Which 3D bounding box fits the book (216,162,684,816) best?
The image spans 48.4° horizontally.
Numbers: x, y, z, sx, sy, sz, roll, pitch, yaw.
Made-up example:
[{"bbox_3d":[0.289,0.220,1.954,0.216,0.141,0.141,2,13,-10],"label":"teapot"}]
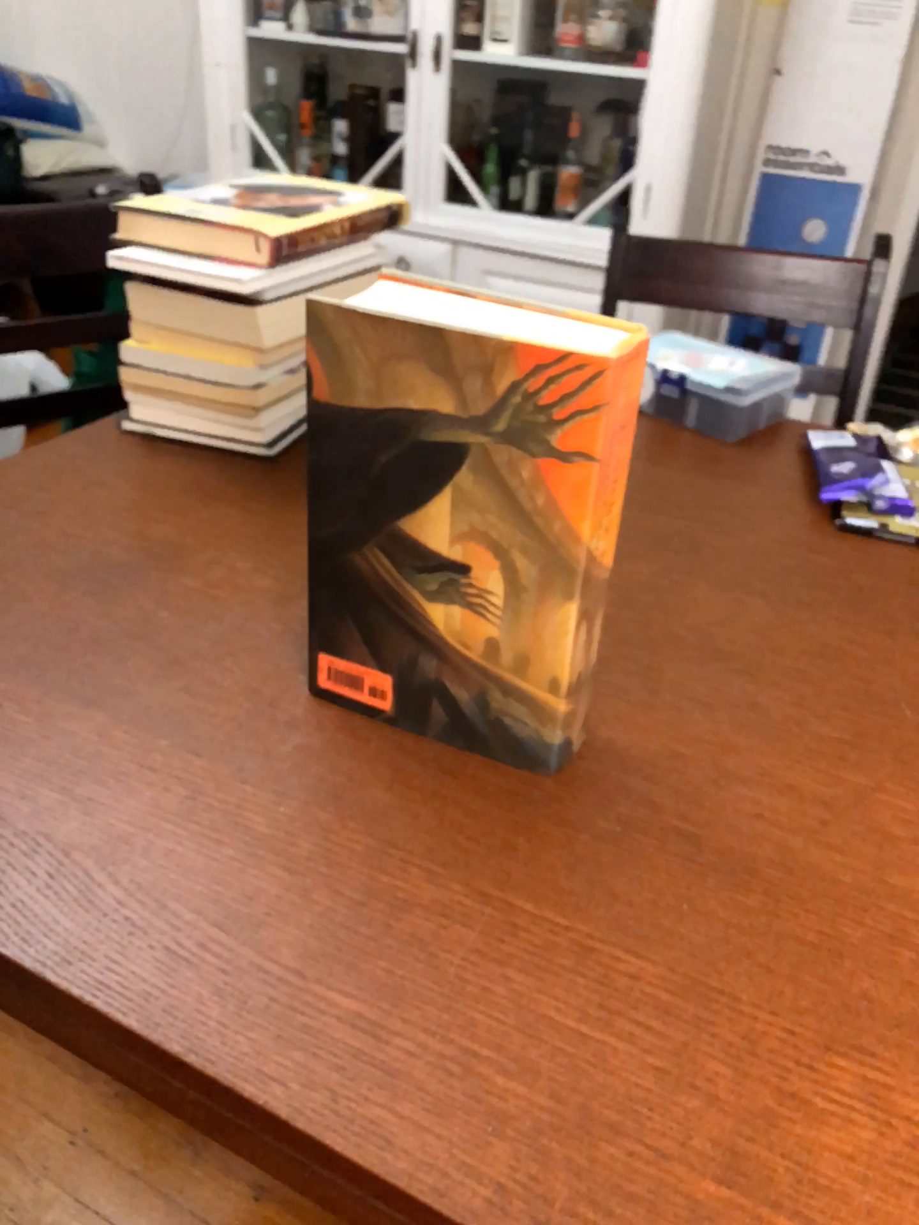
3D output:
[{"bbox_3d":[-0.018,-0.064,0.548,0.210,0.298,0.070,19,33,23],"label":"book"}]
